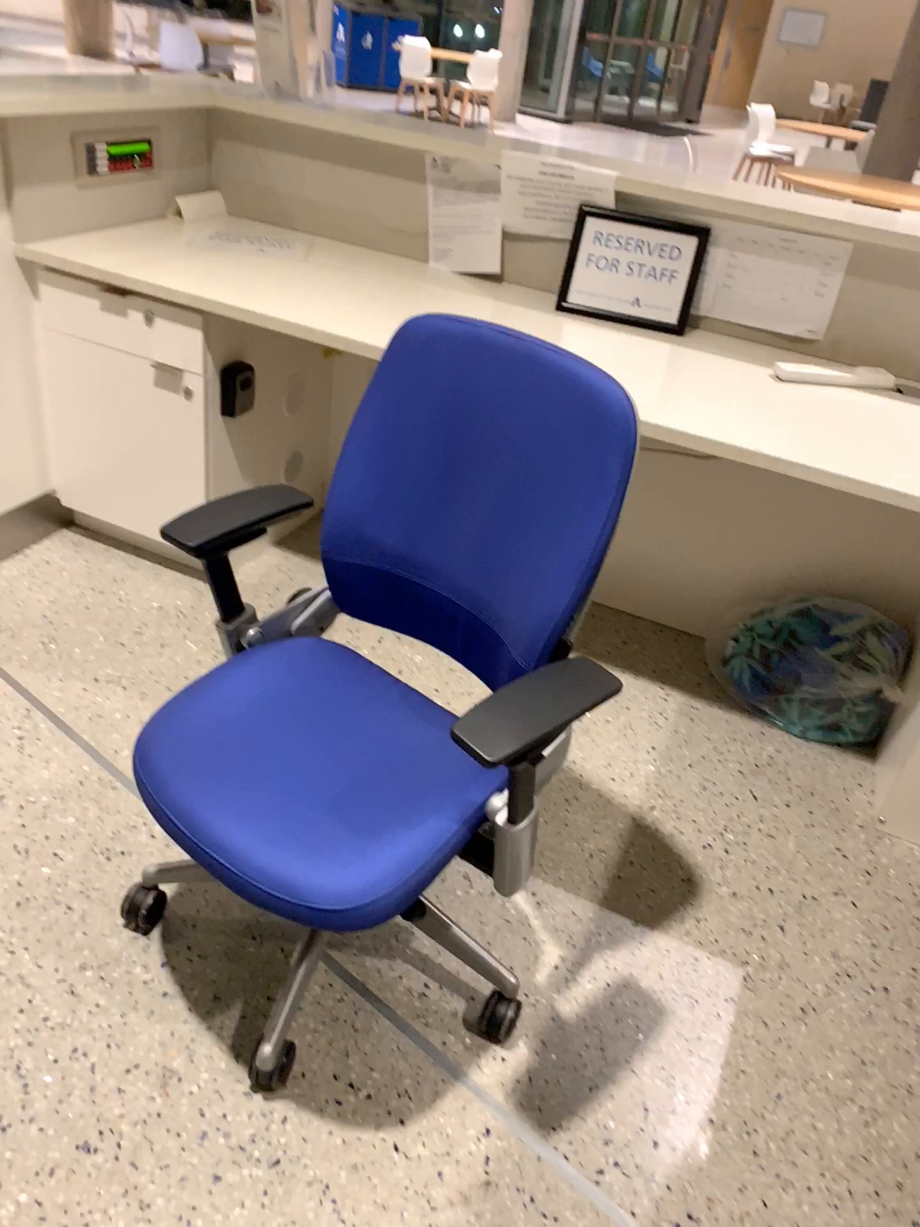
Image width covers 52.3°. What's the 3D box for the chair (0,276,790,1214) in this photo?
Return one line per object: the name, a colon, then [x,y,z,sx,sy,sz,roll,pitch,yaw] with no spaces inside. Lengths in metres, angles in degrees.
chair: [-0.125,0.104,1.305,0.688,0.879,0.651,29,38,29]
